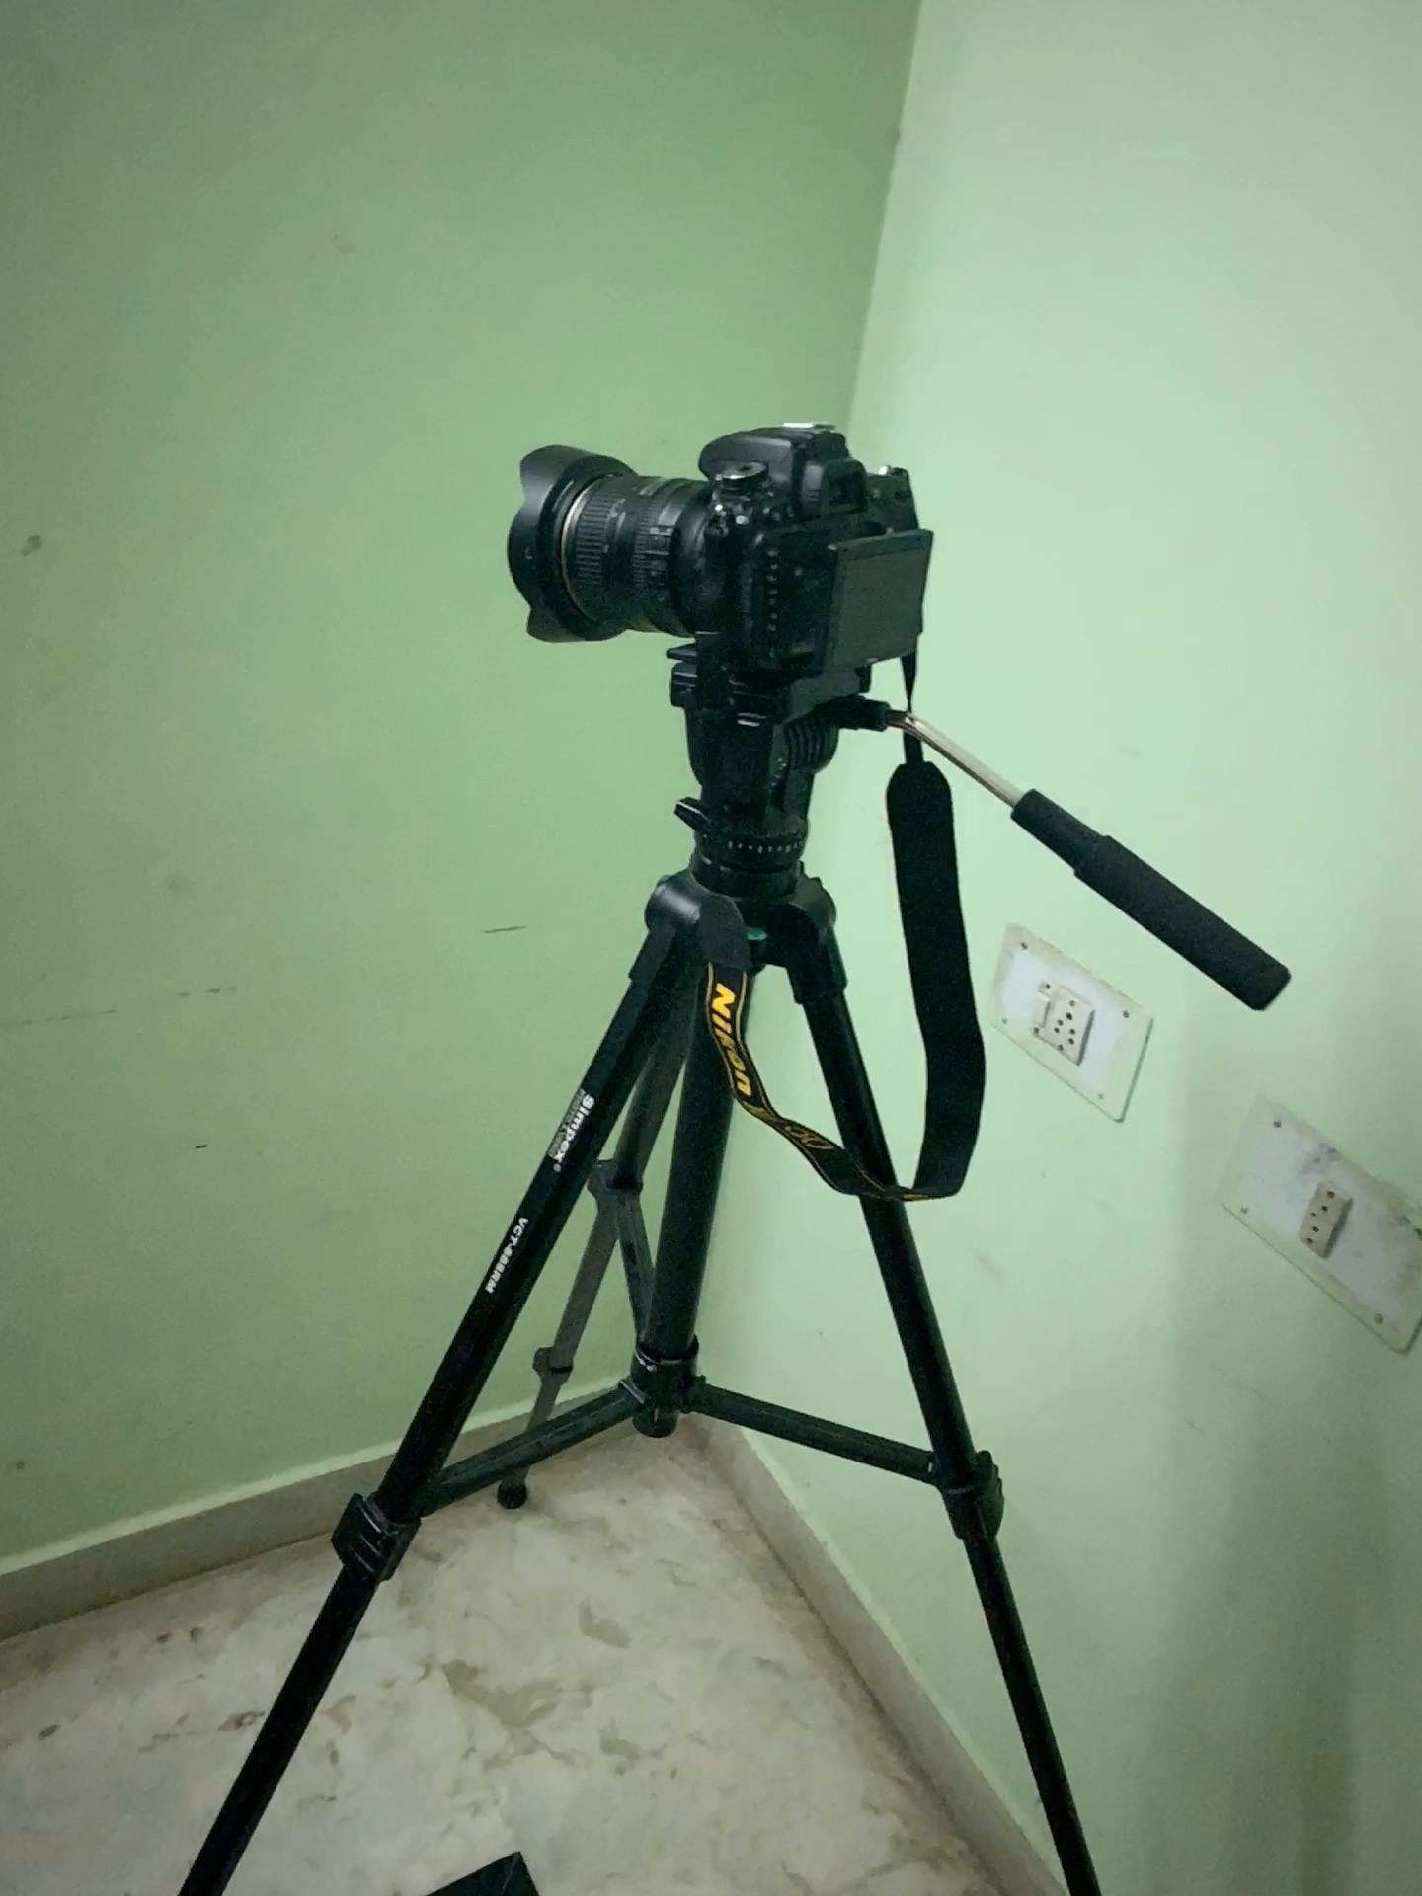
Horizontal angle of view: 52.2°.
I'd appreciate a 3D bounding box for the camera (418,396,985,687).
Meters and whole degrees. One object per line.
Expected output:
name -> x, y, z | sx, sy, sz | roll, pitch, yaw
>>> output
camera -> -0.006, -0.240, 0.818 | 0.267, 0.127, 0.161 | 13, 25, 29
